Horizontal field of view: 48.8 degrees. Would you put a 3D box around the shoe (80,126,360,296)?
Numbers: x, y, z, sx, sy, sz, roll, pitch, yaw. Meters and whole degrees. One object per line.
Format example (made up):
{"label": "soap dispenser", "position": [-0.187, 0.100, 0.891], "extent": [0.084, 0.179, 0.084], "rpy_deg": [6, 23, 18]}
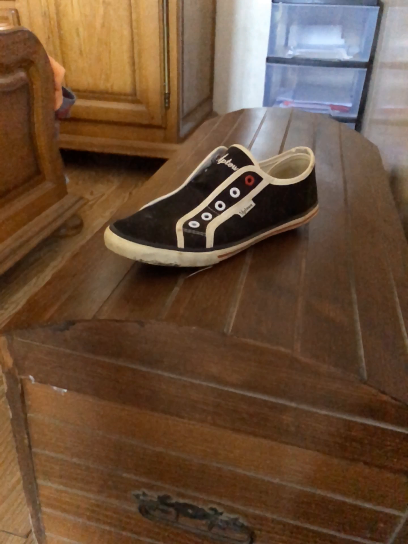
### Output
{"label": "shoe", "position": [0.021, -0.072, 0.426], "extent": [0.241, 0.080, 0.100], "rpy_deg": [-19, 36, -29]}
